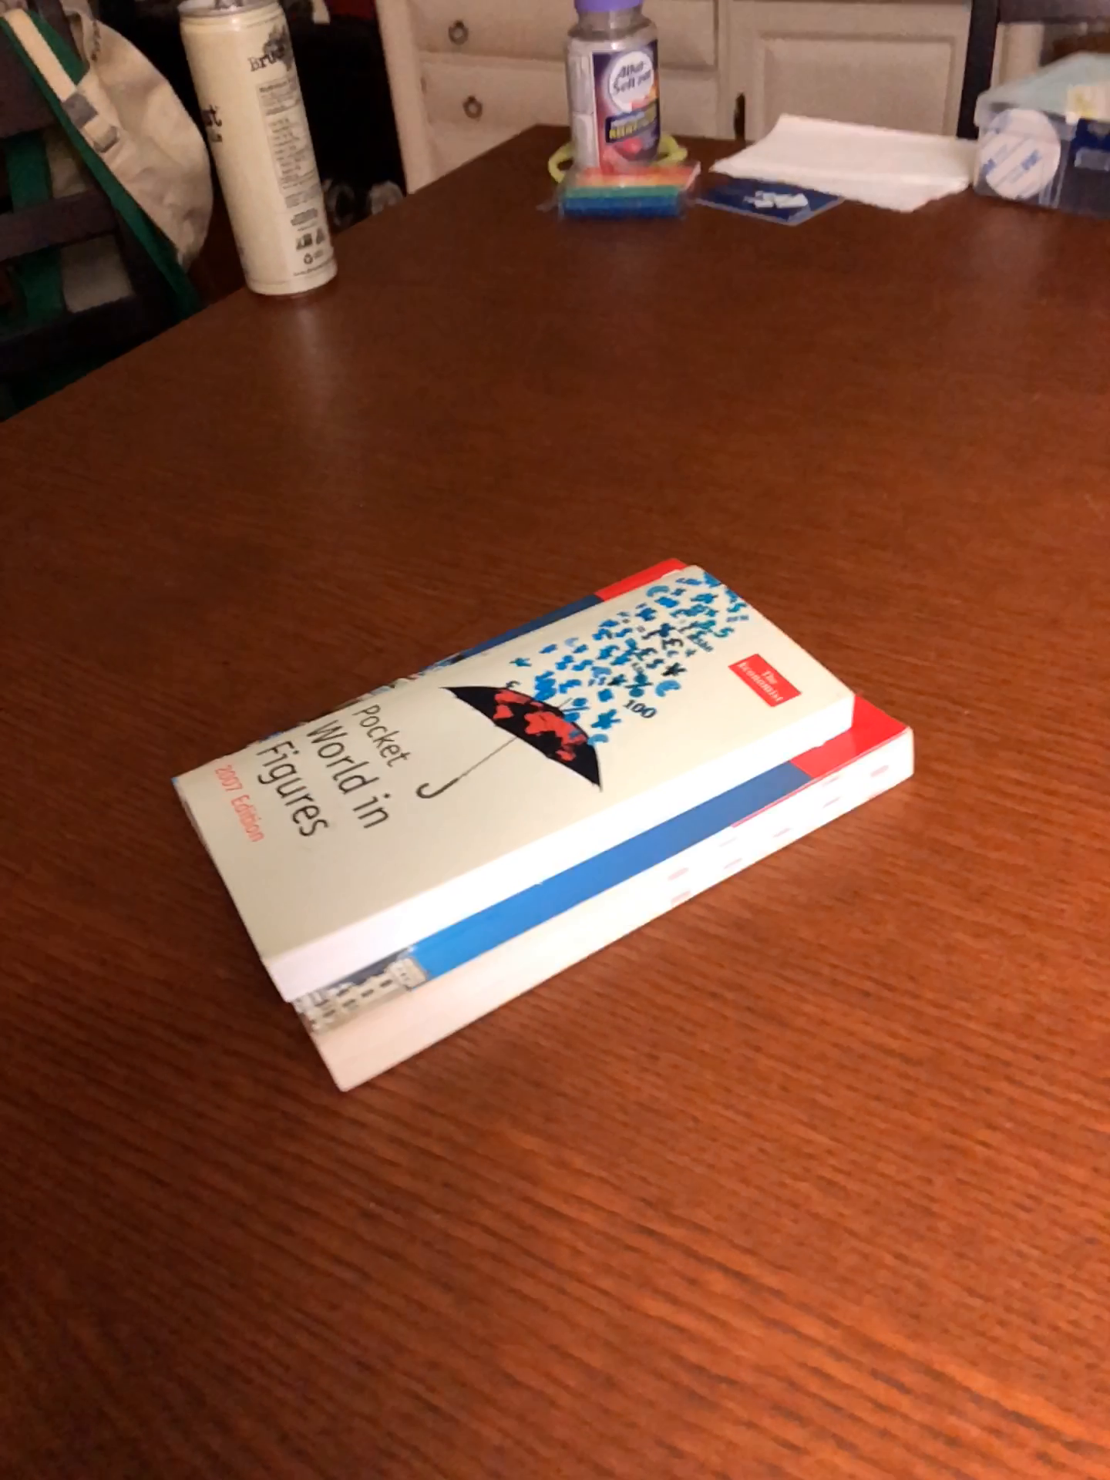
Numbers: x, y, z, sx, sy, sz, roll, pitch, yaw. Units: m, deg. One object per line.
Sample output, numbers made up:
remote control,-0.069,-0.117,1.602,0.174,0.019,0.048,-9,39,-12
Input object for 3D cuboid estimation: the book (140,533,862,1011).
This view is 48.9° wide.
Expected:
book,-0.017,-0.001,0.381,0.200,0.020,0.100,-24,43,-17

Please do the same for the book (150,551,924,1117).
book,-0.009,0.013,0.401,0.210,0.020,0.141,-25,44,-19
